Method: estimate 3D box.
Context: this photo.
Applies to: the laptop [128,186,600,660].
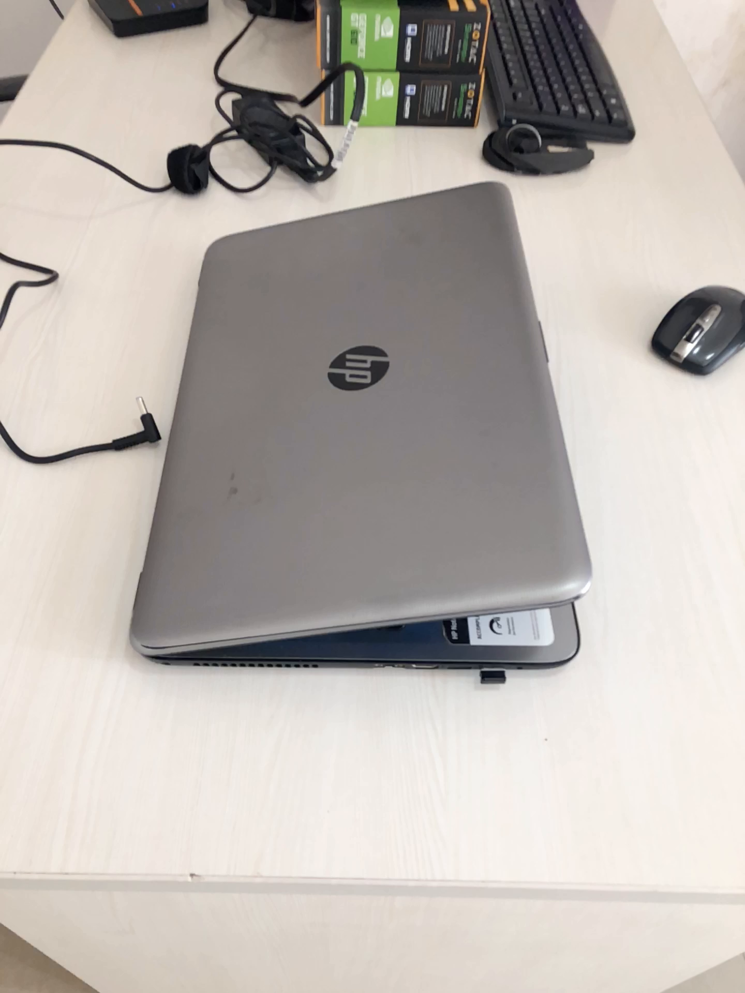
[{"bbox_3d":[-0.005,-0.074,0.527,0.226,0.062,0.358,1,51,-2],"label":"laptop"}]
